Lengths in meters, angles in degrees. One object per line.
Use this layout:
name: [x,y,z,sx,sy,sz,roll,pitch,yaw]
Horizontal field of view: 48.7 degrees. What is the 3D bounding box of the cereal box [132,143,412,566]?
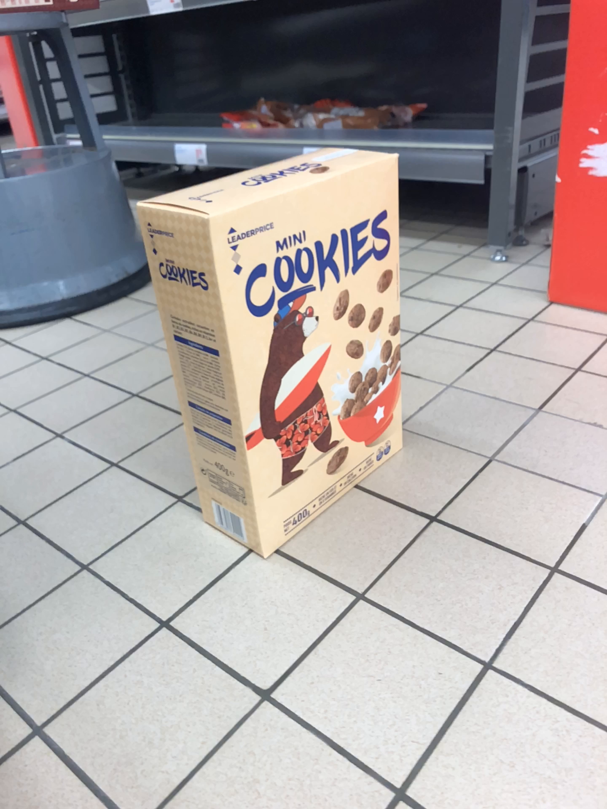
cereal box: [-0.004,-0.047,0.546,0.080,0.278,0.201,19,37,38]
